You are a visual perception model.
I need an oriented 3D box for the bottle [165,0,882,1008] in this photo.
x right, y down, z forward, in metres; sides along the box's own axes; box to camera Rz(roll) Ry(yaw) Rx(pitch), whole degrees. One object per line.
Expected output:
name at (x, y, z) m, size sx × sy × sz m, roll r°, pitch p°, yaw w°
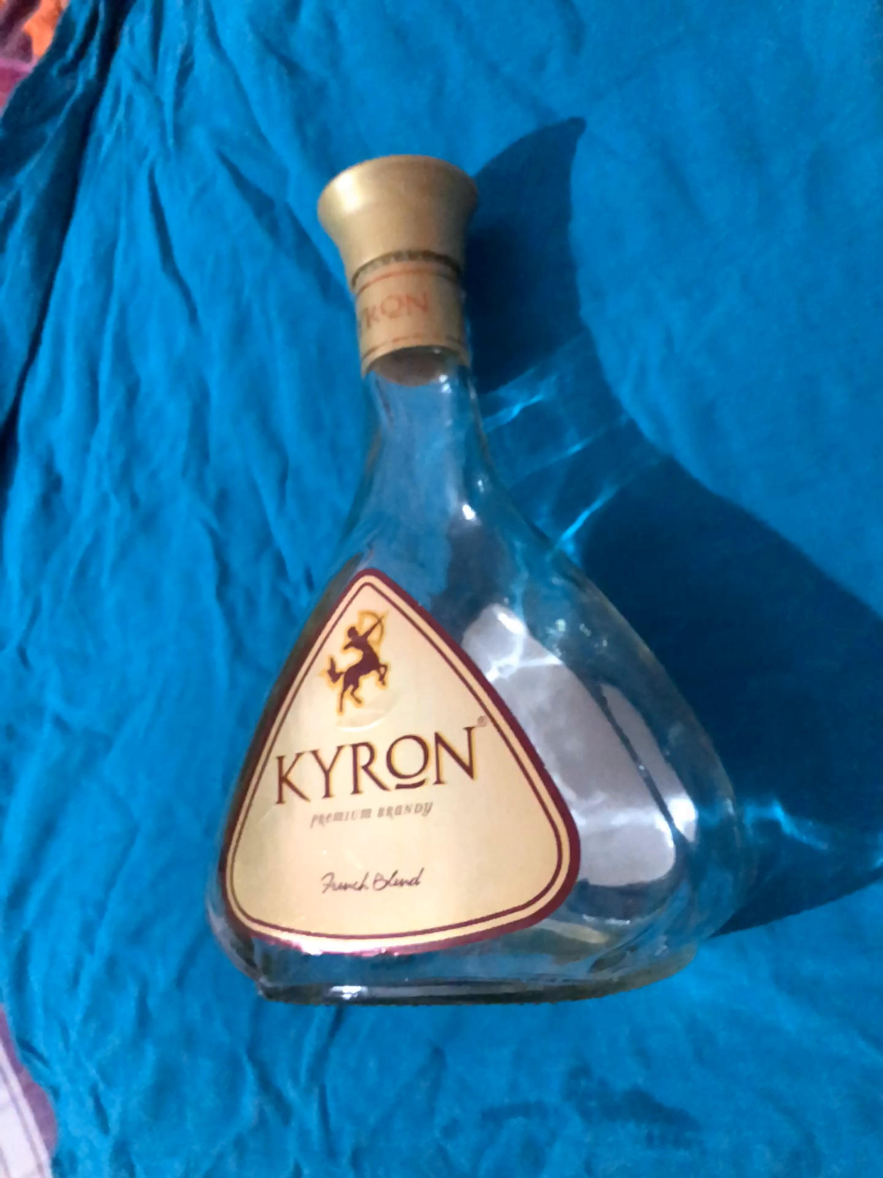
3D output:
bottle at (0.015, -0.023, 0.275) m, size 0.150 × 0.080 × 0.240 m, roll -15°, pitch 78°, yaw 33°
